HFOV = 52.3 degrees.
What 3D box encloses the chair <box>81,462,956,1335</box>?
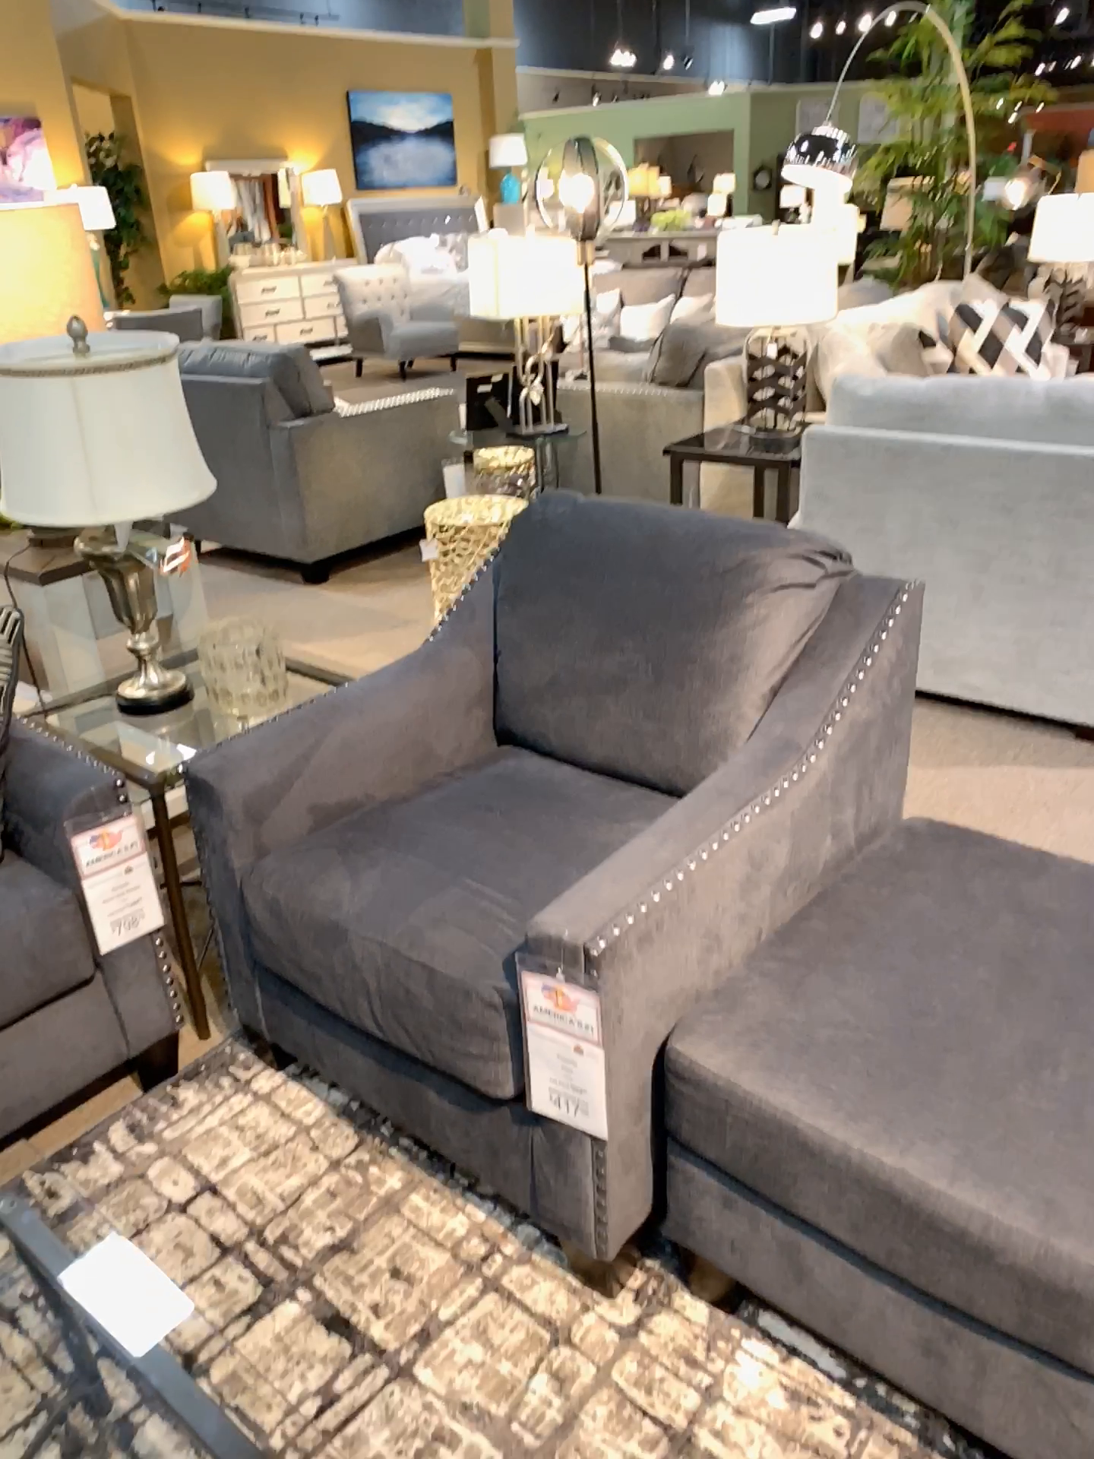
[{"bbox_3d":[-0.002,0.115,1.856,0.923,0.840,0.959,17,32,36],"label":"chair"}]
